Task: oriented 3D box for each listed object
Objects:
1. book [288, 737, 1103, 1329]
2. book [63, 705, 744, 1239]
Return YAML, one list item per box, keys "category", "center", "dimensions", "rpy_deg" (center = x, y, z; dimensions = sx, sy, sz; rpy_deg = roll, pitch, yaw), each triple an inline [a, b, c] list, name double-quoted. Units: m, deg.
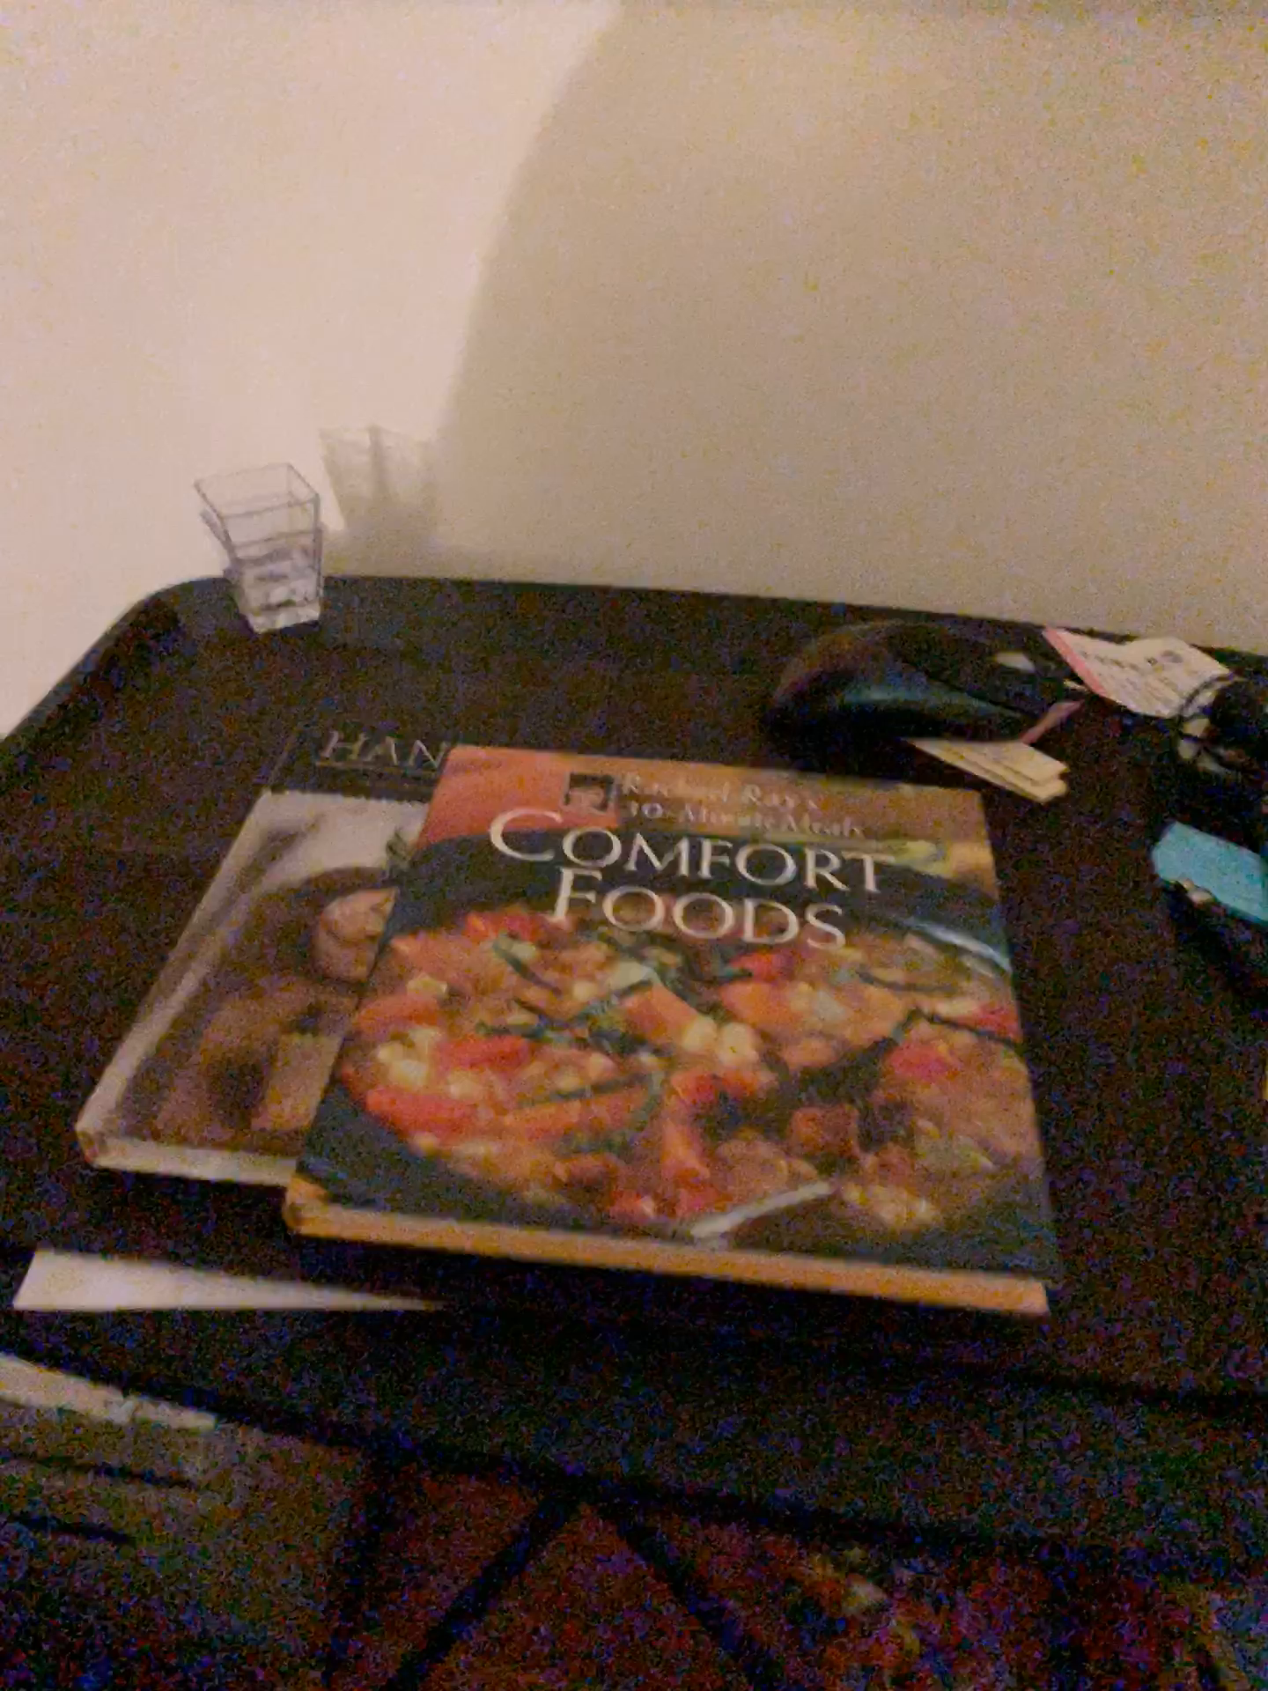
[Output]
- category: "book"
  center: [0.023, 0.040, 0.410]
  dimensions: [0.200, 0.020, 0.211]
  rpy_deg: [4, 39, 4]
- category: "book"
  center: [-0.058, 0.026, 0.450]
  dimensions: [0.180, 0.020, 0.221]
  rpy_deg: [5, 39, 4]
